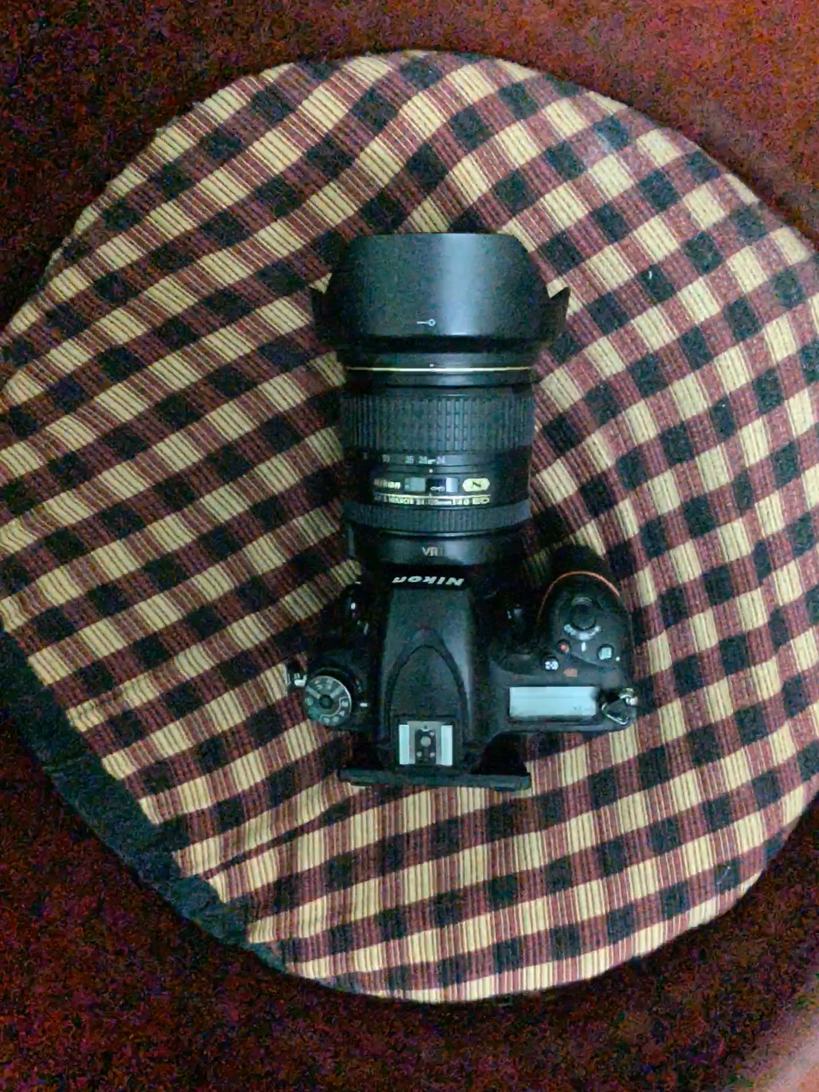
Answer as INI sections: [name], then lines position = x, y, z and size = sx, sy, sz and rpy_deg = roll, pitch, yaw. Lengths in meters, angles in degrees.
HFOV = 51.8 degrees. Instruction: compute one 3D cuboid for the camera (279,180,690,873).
[camera]
position = 0.028, -0.009, 0.358
size = 0.140, 0.101, 0.250
rpy_deg = 2, 99, 6
